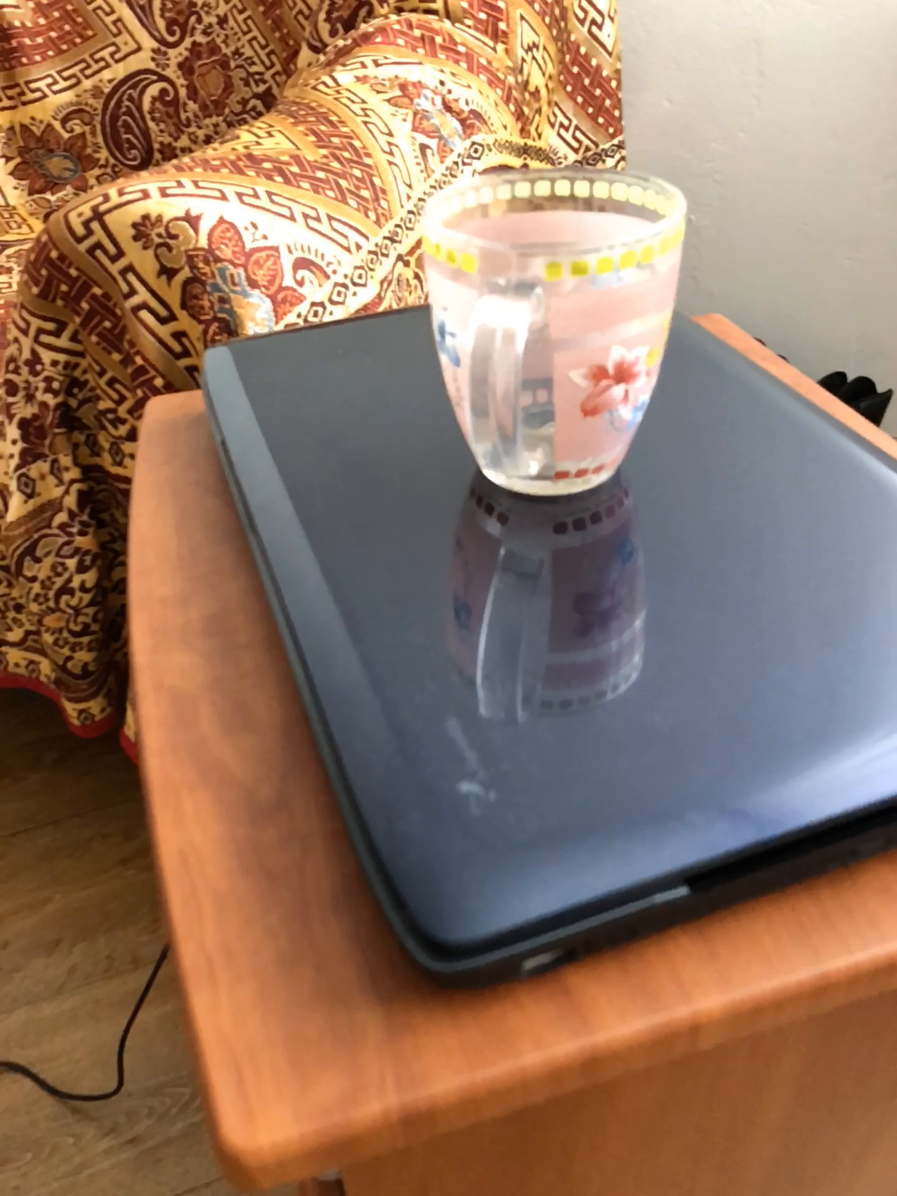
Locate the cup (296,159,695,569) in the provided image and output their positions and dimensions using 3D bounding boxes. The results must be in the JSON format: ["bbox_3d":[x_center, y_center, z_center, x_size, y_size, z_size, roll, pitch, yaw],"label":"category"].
[{"bbox_3d":[0.024,-0.086,0.327,0.095,0.081,0.131,9,38,14],"label":"cup"}]
